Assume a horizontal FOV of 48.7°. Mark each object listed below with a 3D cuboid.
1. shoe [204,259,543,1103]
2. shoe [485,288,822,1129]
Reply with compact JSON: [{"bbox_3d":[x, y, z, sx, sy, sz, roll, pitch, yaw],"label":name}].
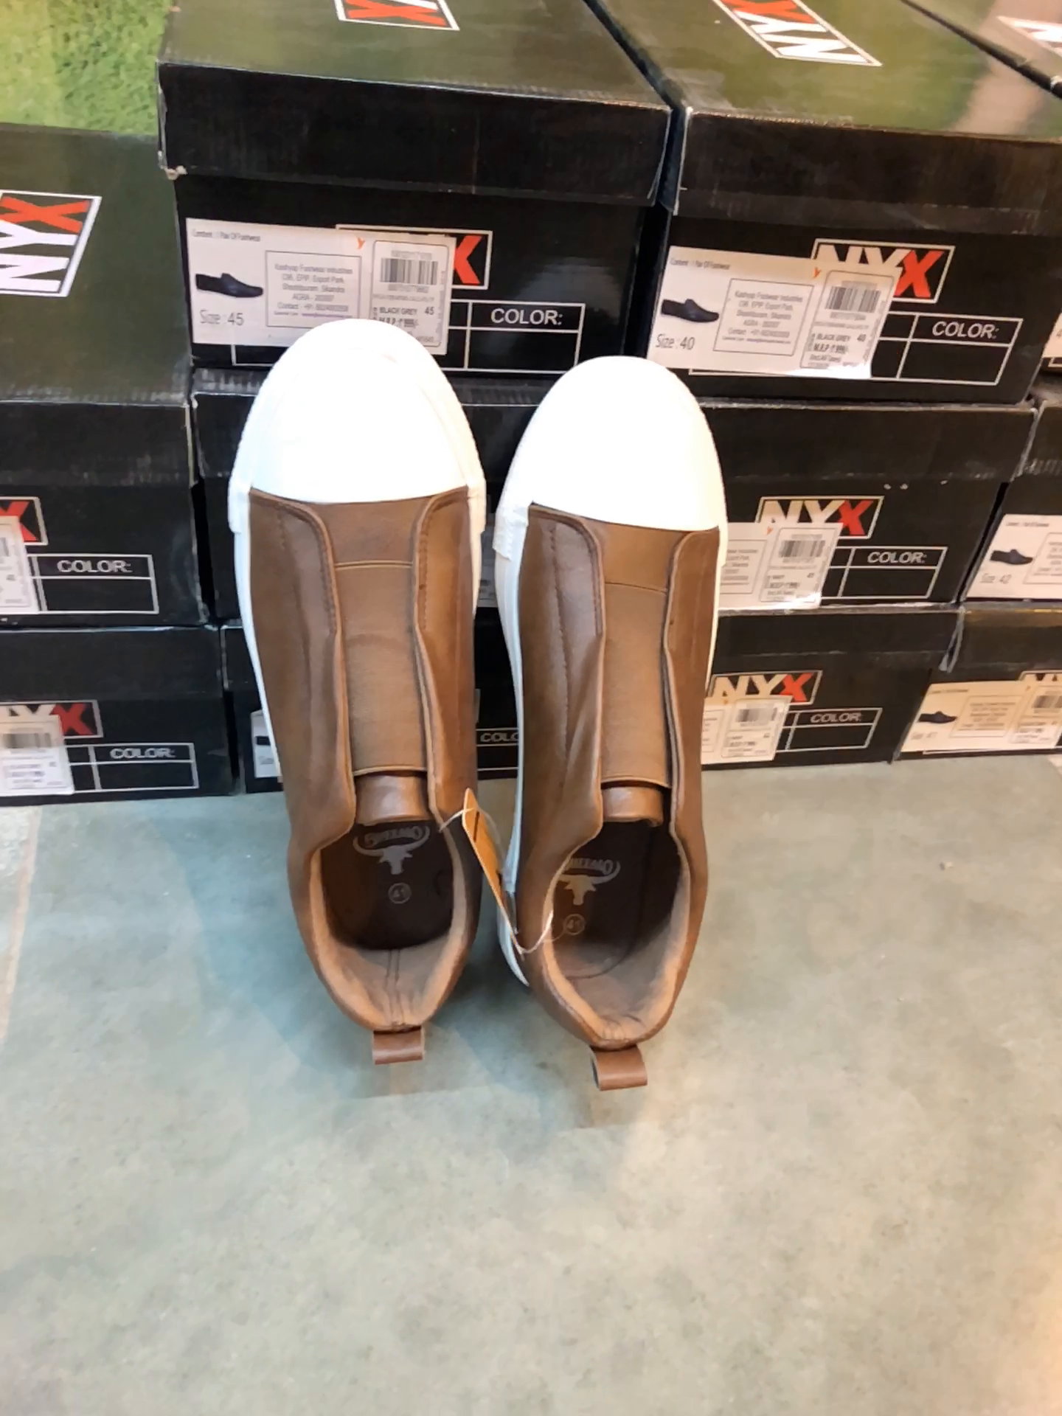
[{"bbox_3d":[-0.058,-0.012,0.433,0.098,0.269,0.103,-3,7,-12],"label":"shoe"},{"bbox_3d":[0.038,-0.001,0.436,0.097,0.272,0.100,0,5,-10],"label":"shoe"}]
